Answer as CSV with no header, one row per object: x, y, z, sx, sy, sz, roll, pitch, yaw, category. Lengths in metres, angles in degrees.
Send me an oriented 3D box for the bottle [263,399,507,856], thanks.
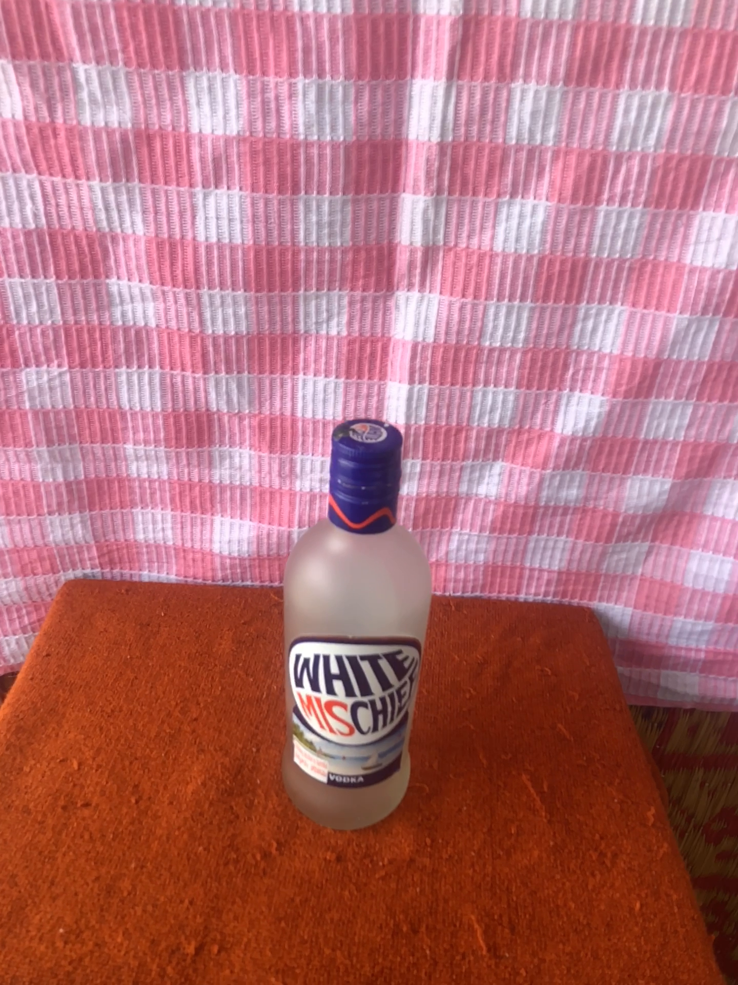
-0.001,0.067,0.357,0.080,0.199,0.070,5,34,-2,bottle
